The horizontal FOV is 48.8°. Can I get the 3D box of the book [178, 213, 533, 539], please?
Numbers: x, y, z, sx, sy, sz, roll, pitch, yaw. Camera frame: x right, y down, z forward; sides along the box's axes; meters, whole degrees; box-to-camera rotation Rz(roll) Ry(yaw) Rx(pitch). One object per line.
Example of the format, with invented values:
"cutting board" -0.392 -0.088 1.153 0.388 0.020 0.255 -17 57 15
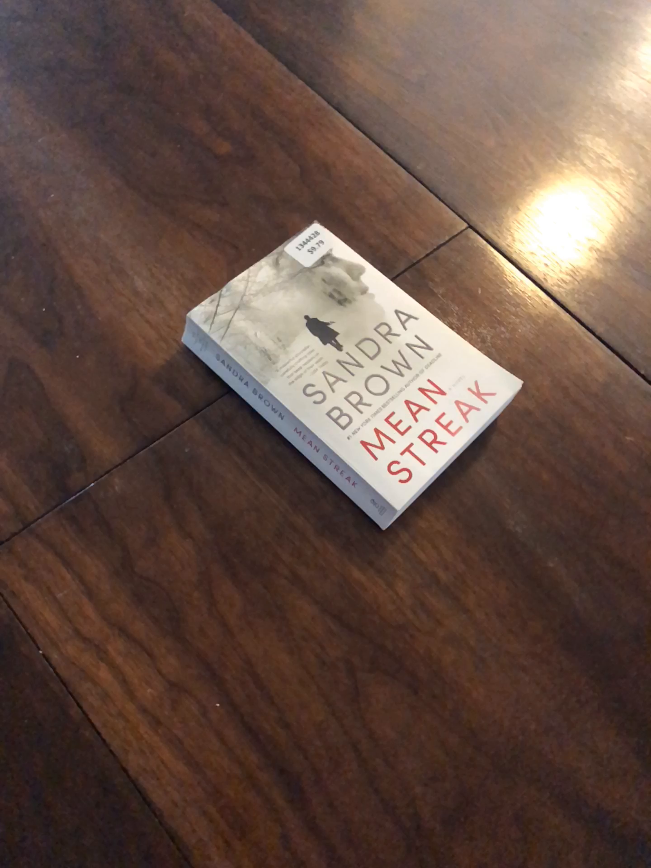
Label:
"book" 0.019 -0.049 0.505 0.207 0.030 0.137 43 68 13
